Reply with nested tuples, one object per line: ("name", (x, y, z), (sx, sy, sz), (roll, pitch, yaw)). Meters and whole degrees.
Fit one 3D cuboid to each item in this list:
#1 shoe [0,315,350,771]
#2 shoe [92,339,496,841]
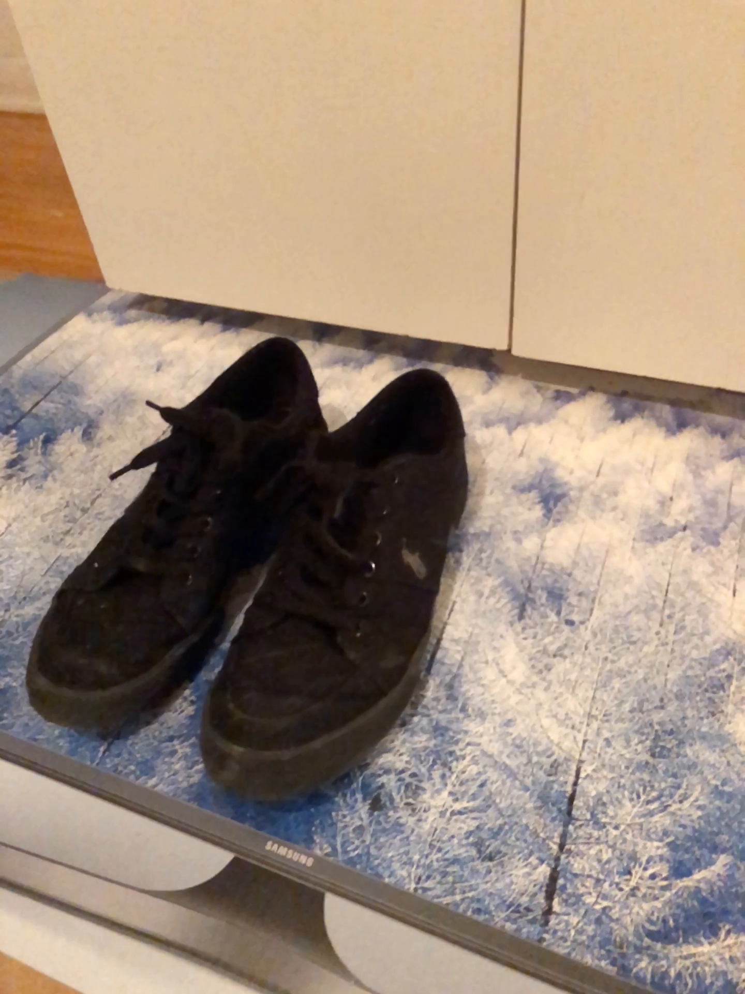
("shoe", (-0.125, 0.011, 0.527), (0.110, 0.109, 0.272), (14, 48, 19))
("shoe", (-0.022, 0.035, 0.478), (0.110, 0.109, 0.262), (14, 48, 19))
